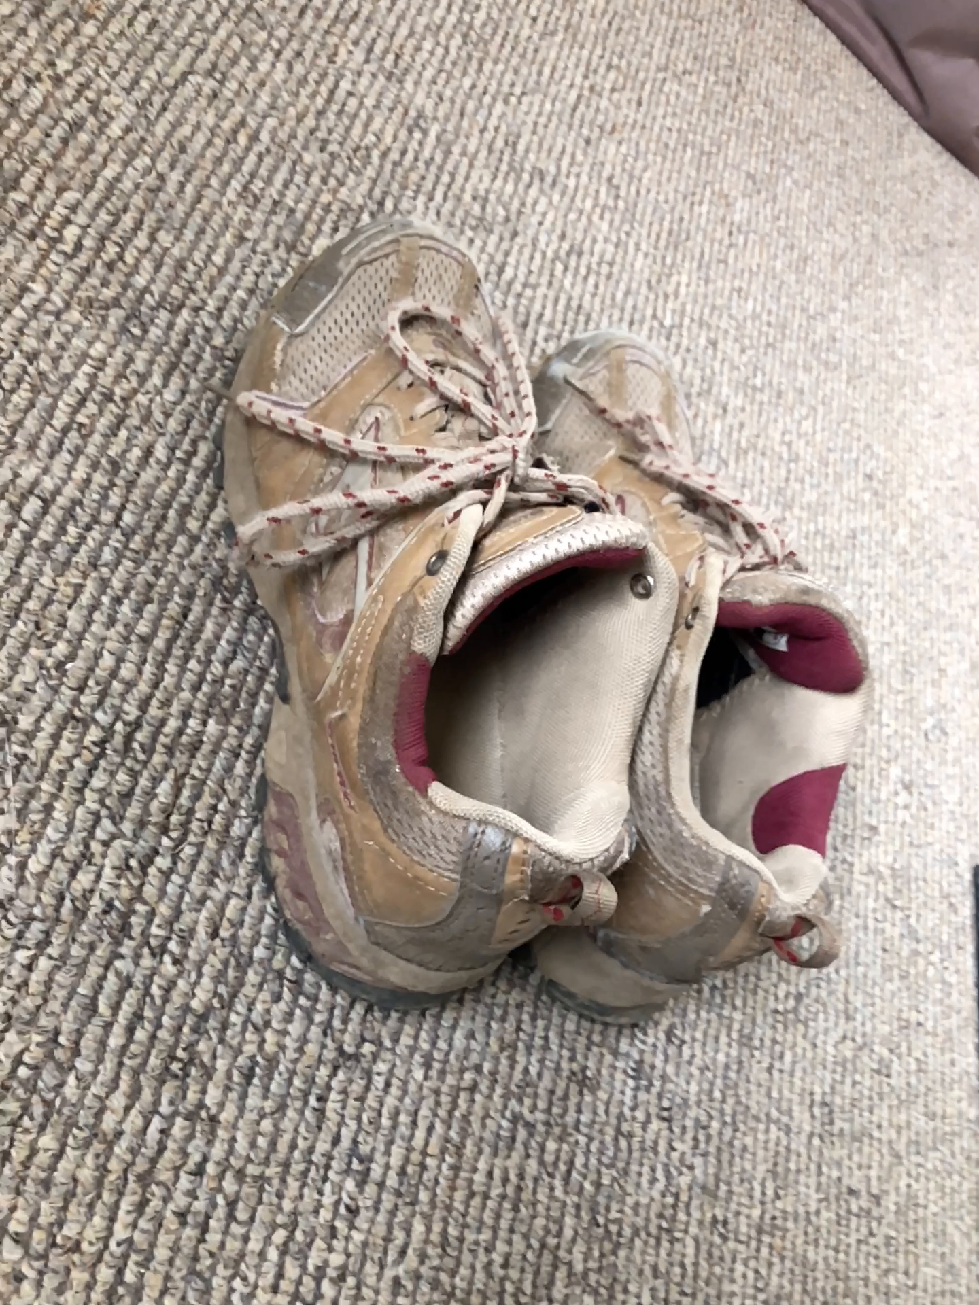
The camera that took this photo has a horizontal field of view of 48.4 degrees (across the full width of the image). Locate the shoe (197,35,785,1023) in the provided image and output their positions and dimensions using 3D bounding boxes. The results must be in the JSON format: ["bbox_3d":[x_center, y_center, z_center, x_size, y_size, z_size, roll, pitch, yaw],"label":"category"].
[{"bbox_3d":[-0.013,-0.031,0.356,0.111,0.118,0.270,8,66,-38],"label":"shoe"}]

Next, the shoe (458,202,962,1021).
[{"bbox_3d":[0.070,-0.008,0.420,0.112,0.123,0.272,17,61,-34],"label":"shoe"}]
